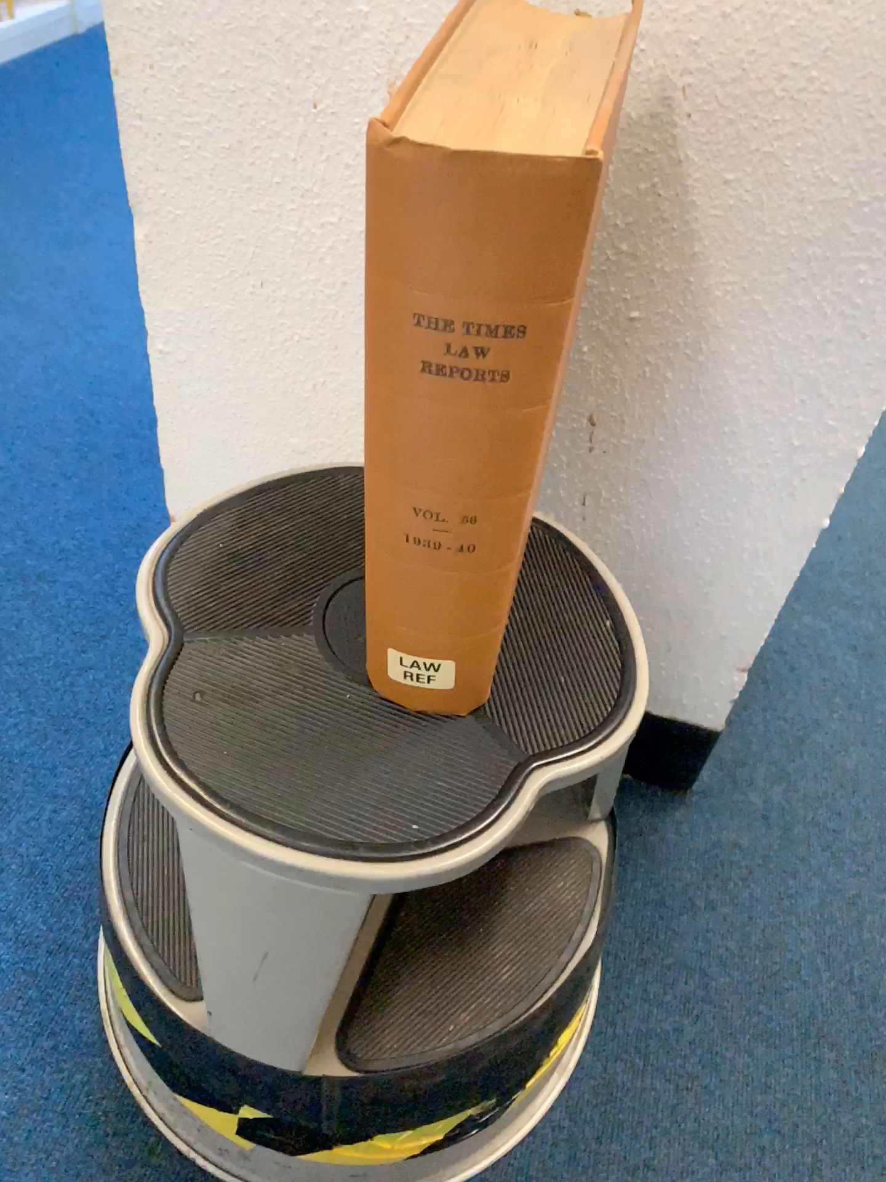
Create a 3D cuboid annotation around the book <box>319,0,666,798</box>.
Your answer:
[{"bbox_3d":[0.017,-0.094,0.448,0.090,0.337,0.222,12,44,4],"label":"book"}]
